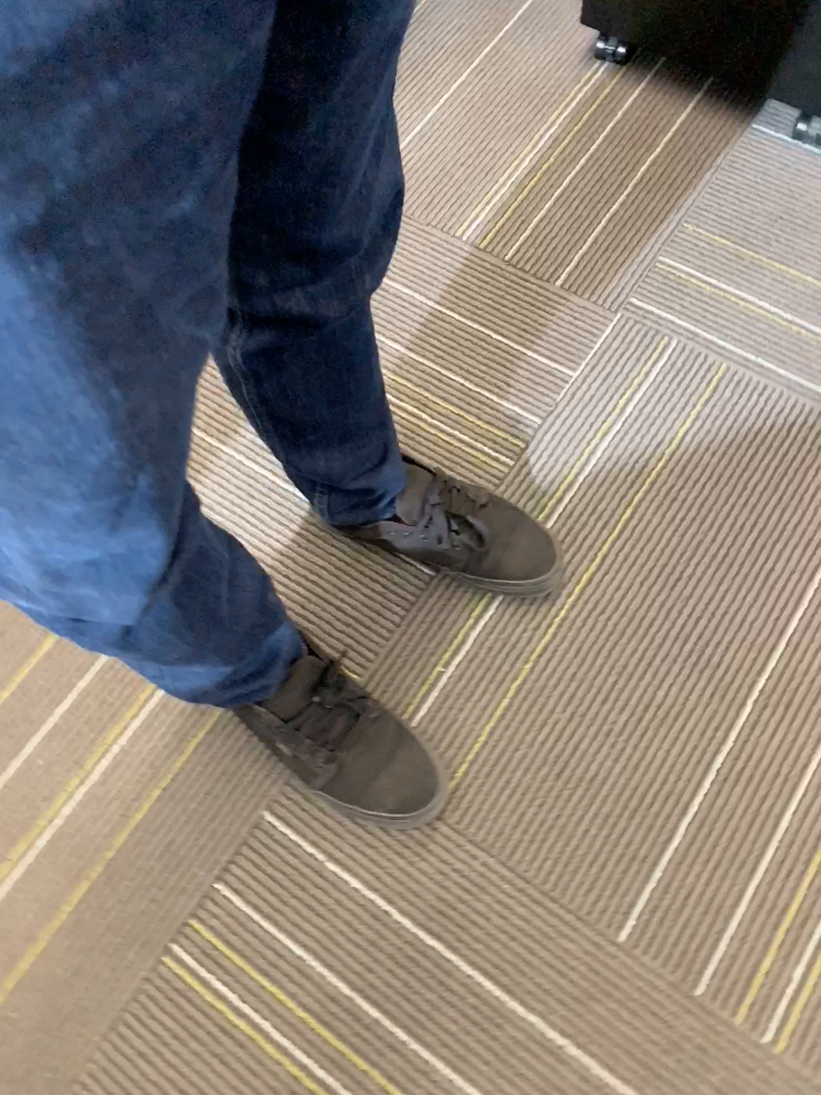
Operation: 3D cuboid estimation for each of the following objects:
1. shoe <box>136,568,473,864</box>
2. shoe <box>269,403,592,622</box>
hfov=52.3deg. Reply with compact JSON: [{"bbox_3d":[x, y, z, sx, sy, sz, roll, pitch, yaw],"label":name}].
[{"bbox_3d":[-0.093,0.156,0.780,0.291,0.113,0.109,32,73,16],"label":"shoe"},{"bbox_3d":[0.021,-0.035,0.855,0.291,0.113,0.109,17,69,11],"label":"shoe"}]
